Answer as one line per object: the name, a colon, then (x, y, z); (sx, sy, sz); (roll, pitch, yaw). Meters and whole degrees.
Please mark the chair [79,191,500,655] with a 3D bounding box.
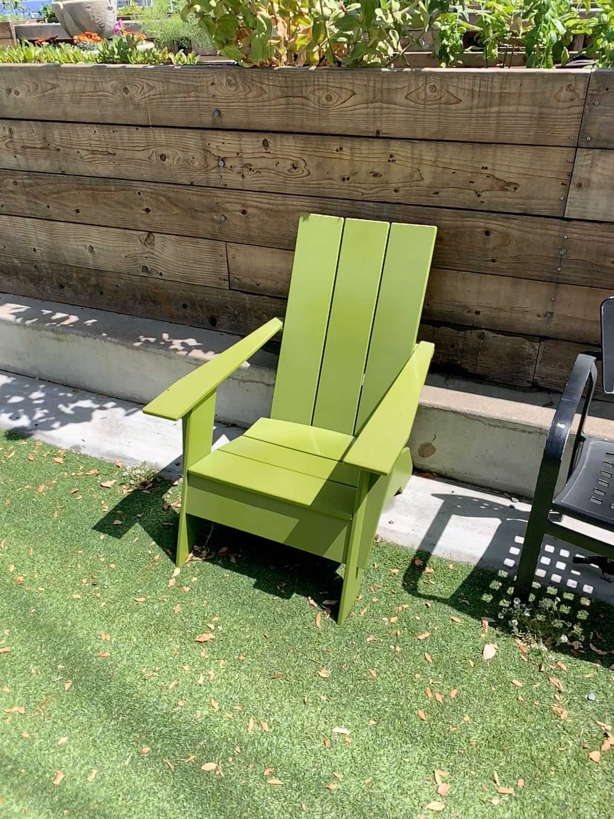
chair: (0.035, -0.051, 1.804); (0.722, 0.845, 0.903); (14, 37, 23)
